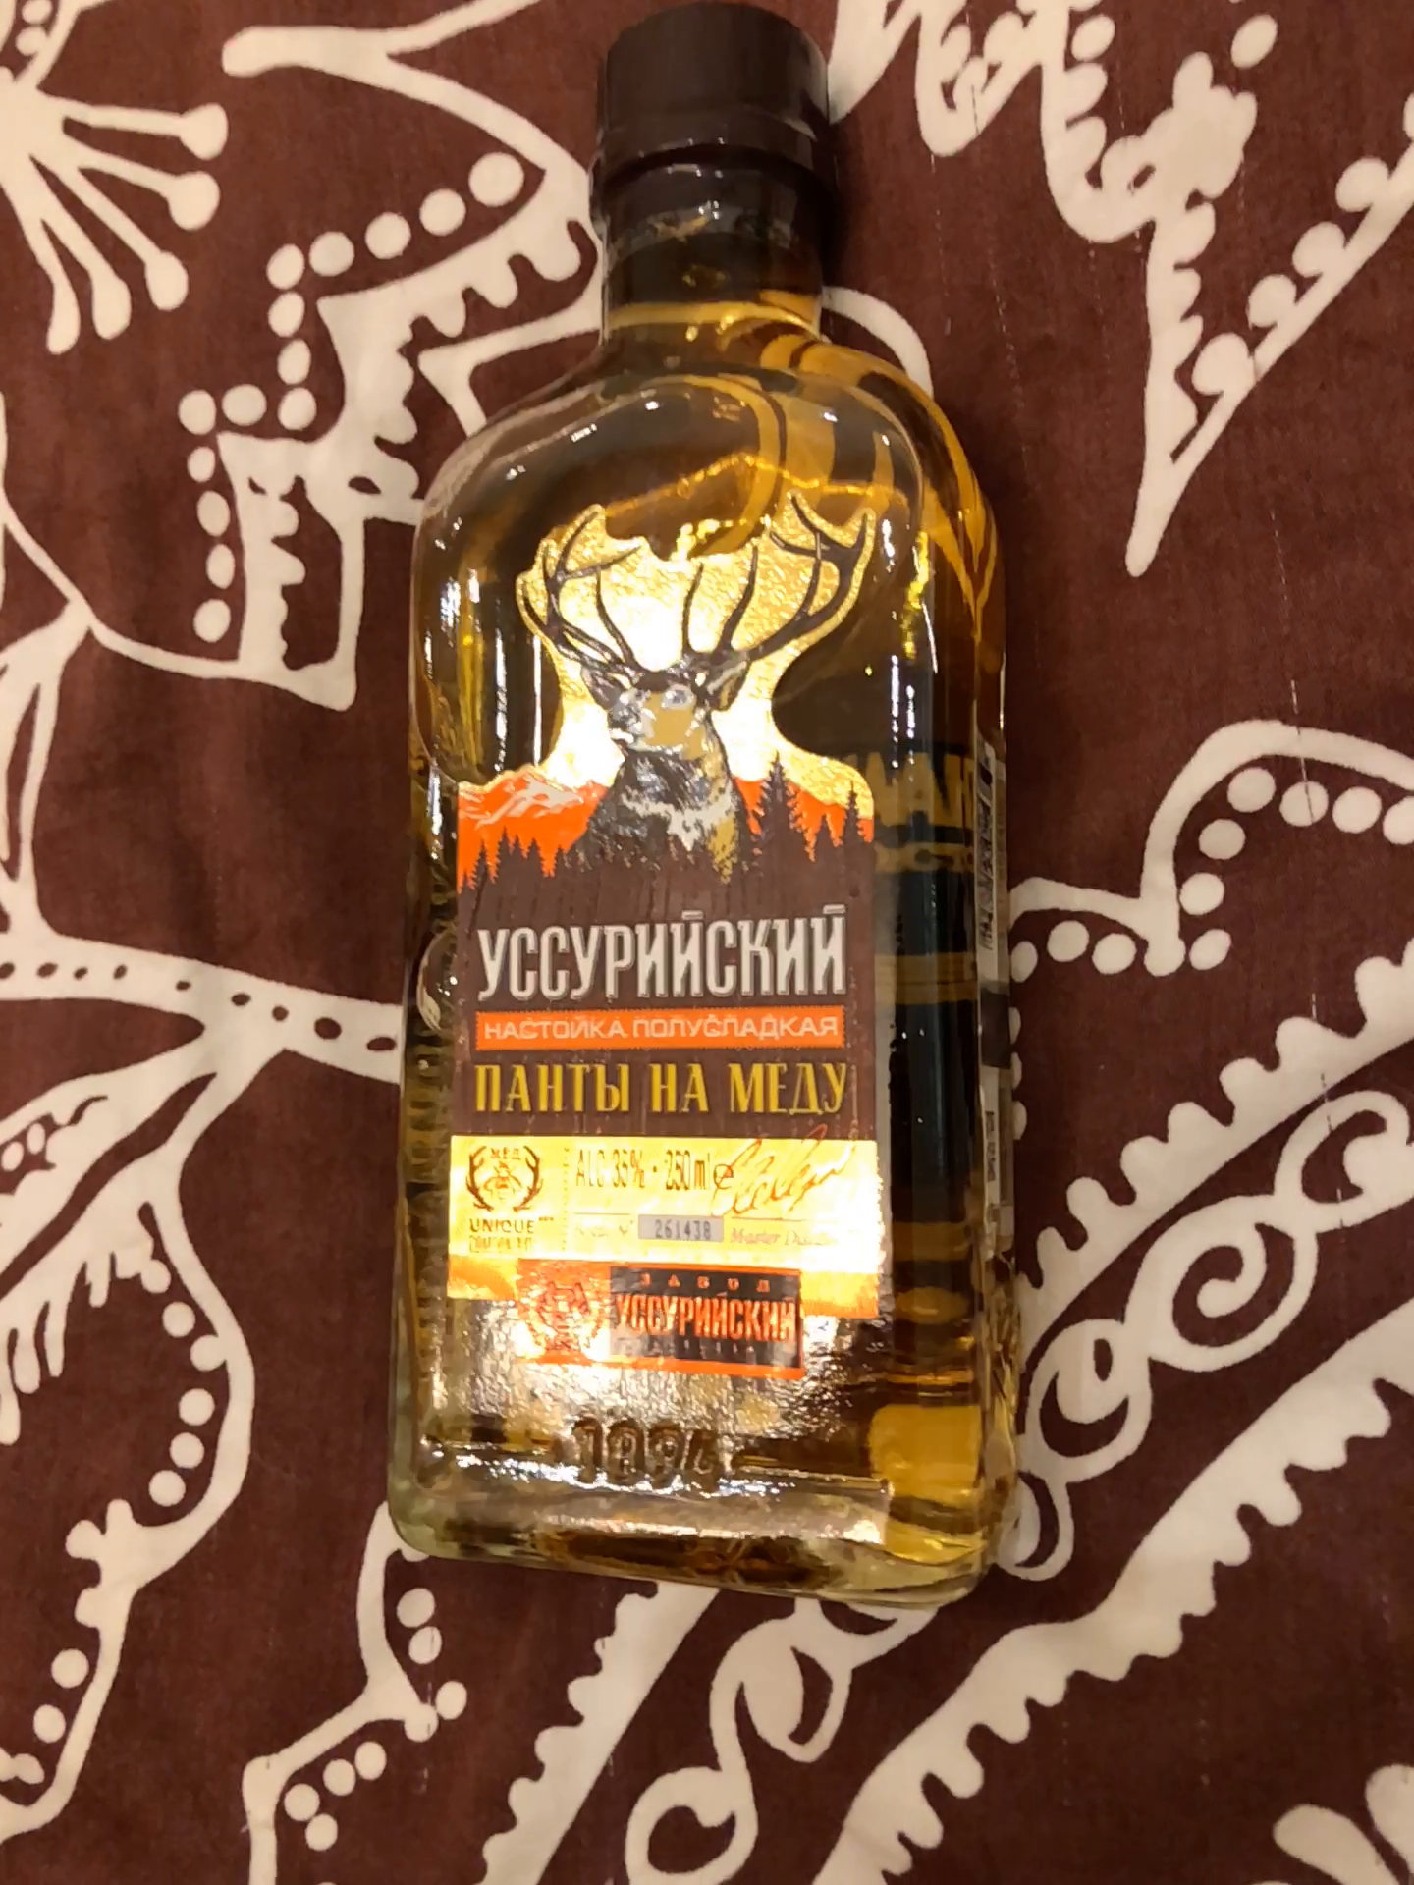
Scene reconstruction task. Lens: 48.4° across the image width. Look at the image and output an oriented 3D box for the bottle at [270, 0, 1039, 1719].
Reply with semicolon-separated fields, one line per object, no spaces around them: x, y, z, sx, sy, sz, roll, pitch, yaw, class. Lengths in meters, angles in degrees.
-0.001;-0.022;0.186;0.070;0.050;0.190;-2;81;22;bottle
